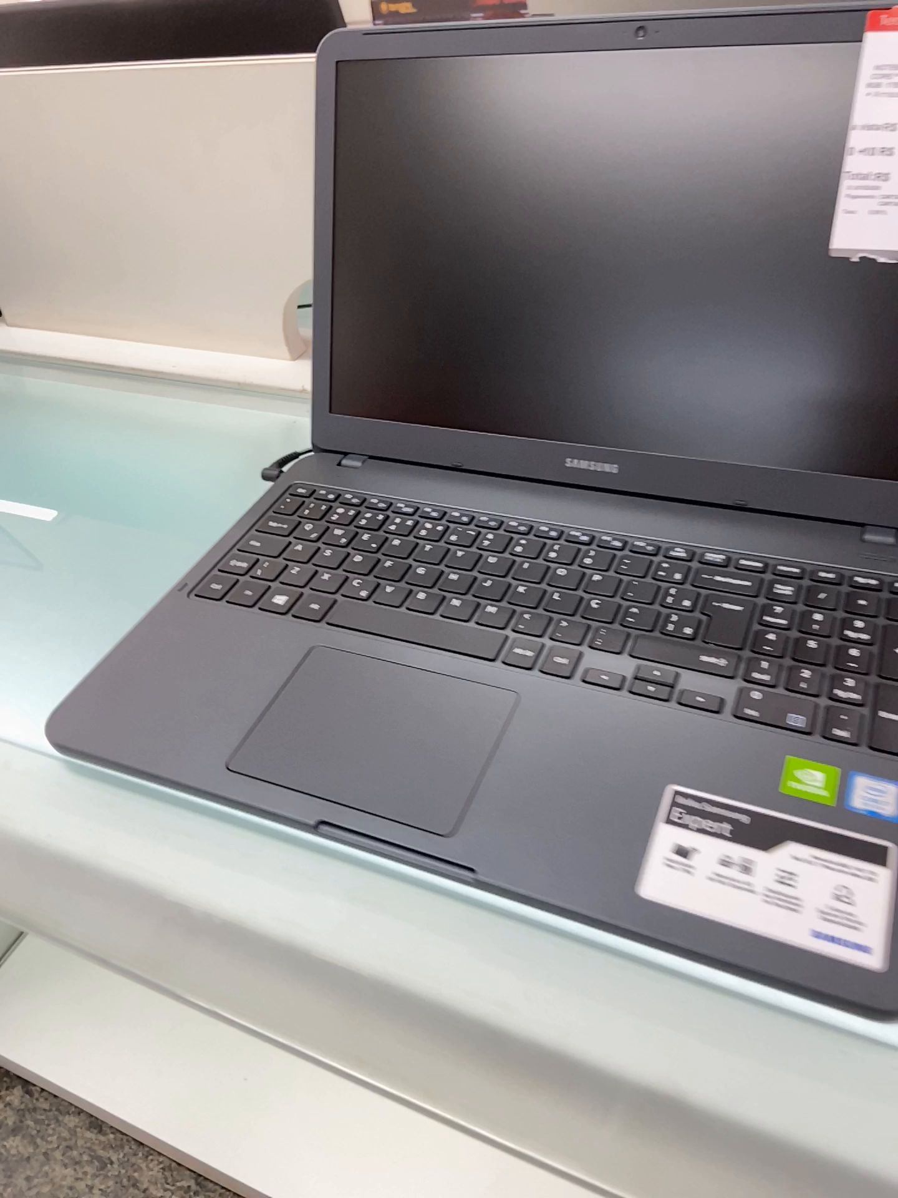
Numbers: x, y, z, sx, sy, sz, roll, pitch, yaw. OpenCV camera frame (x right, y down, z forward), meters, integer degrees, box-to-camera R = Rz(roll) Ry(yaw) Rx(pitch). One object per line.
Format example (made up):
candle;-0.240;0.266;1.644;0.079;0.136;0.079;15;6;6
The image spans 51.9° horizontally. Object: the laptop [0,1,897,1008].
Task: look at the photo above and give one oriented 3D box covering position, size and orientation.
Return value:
laptop;0.033;-0.093;0.402;0.363;0.208;0.343;11;44;23
